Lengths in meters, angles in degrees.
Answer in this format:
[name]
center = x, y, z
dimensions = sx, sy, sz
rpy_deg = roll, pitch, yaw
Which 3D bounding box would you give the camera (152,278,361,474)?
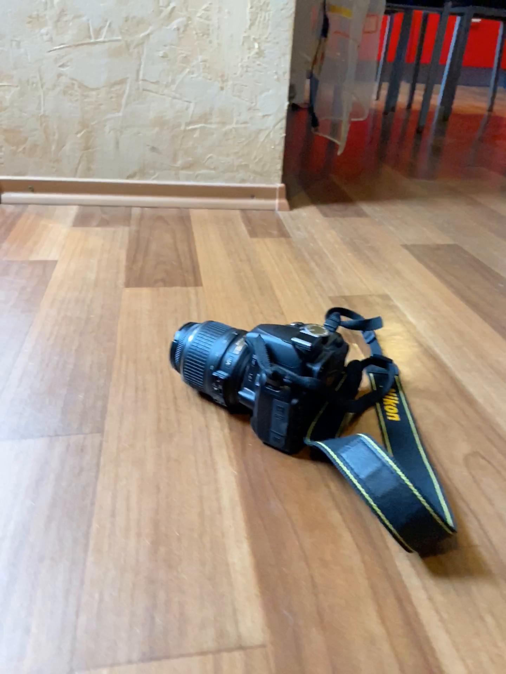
[camera]
center = 0.004, 0.028, 0.501
dimensions = 0.153, 0.100, 0.121
rpy_deg = 18, 33, 23
